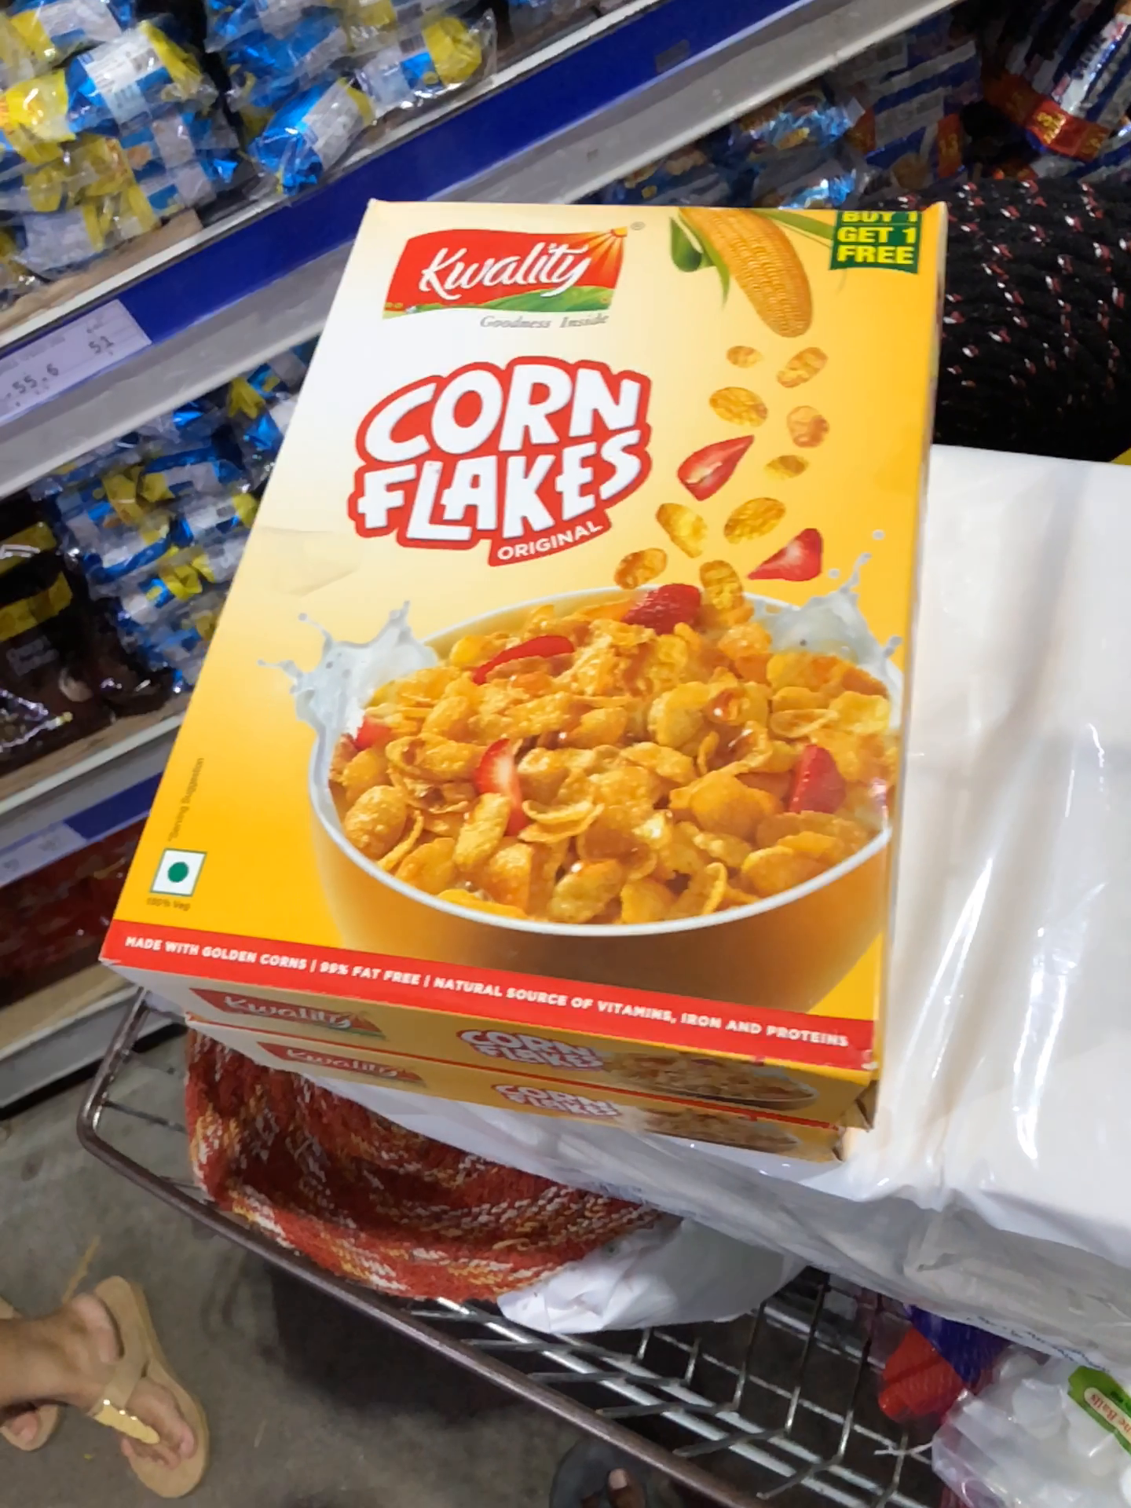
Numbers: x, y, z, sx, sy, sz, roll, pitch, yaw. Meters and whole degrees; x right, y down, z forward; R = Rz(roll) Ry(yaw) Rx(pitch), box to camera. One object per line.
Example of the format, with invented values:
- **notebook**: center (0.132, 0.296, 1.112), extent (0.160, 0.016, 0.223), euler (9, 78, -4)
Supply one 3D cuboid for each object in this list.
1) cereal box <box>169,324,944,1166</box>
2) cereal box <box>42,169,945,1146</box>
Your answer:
- **cereal box**: center (0.012, -0.018, 0.418), extent (0.200, 0.070, 0.261), euler (5, 66, 13)
- **cereal box**: center (-0.003, -0.044, 0.349), extent (0.190, 0.060, 0.261), euler (5, 66, 13)
